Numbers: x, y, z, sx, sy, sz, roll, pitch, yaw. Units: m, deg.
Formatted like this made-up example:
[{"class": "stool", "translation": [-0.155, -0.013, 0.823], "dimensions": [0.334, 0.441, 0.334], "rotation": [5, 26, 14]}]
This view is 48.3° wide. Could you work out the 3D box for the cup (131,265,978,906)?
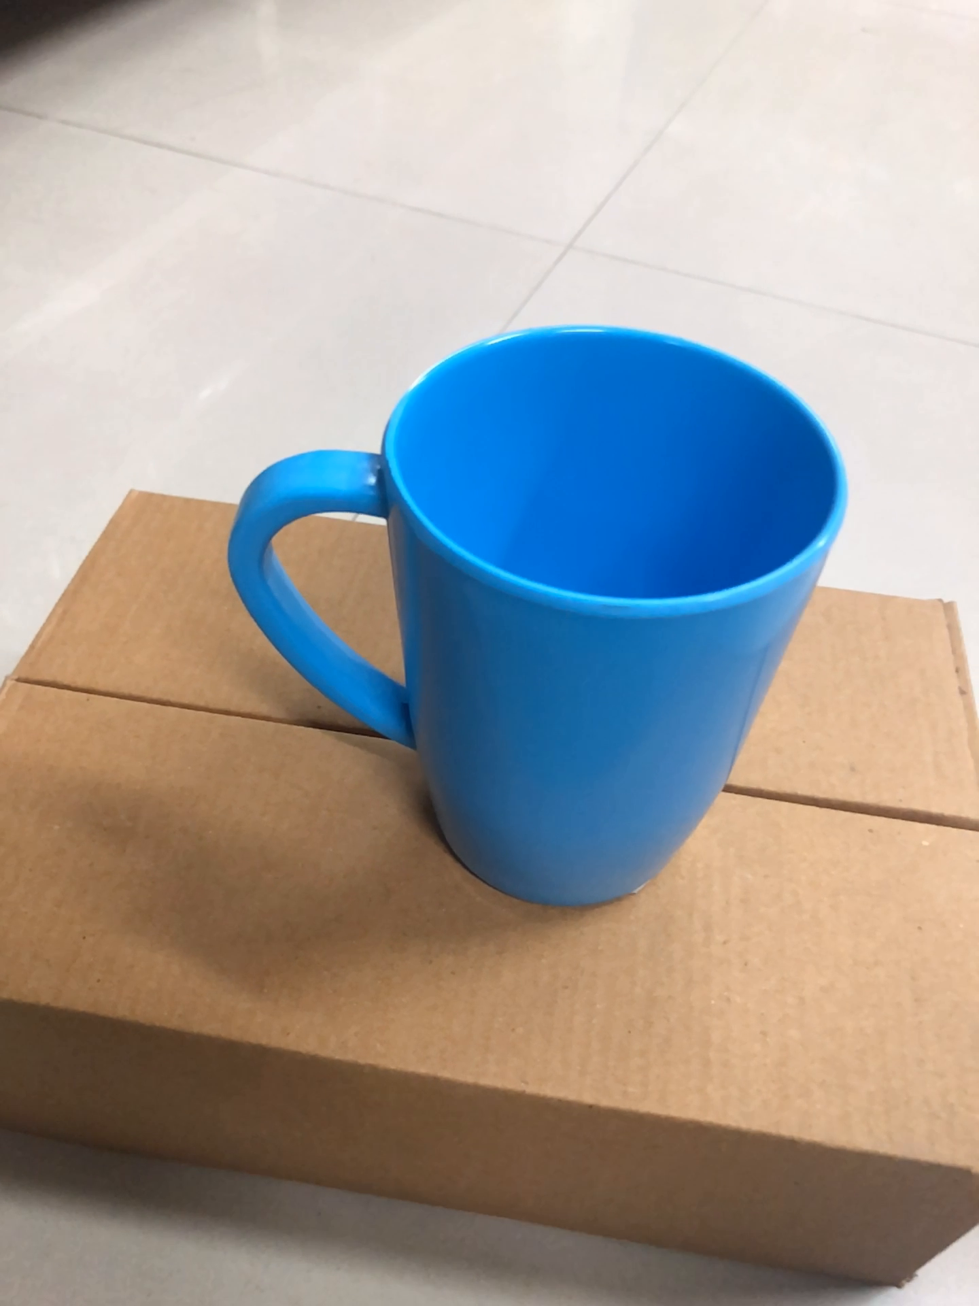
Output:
[{"class": "cup", "translation": [0.008, -0.011, 0.213], "dimensions": [0.120, 0.089, 0.080], "rotation": [2, 47, -2]}]
